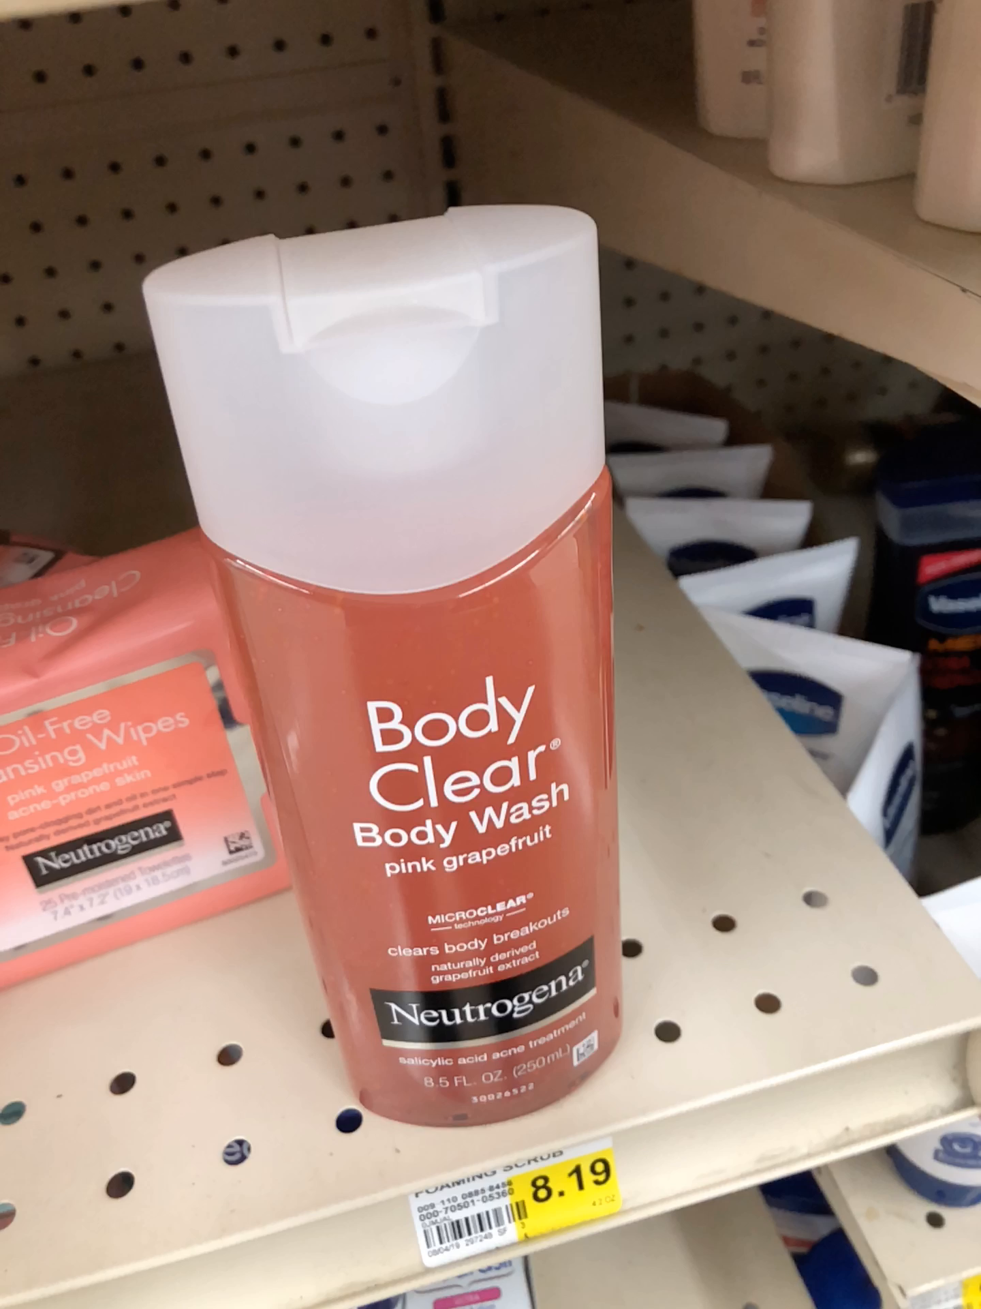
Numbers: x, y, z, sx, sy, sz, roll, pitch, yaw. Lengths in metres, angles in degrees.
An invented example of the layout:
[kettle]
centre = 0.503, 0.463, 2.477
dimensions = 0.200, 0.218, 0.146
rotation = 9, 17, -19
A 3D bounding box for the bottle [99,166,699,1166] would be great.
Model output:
[bottle]
centre = -0.006, 0.021, 0.197
dimensions = 0.070, 0.189, 0.030
rotation = -11, 39, -7
